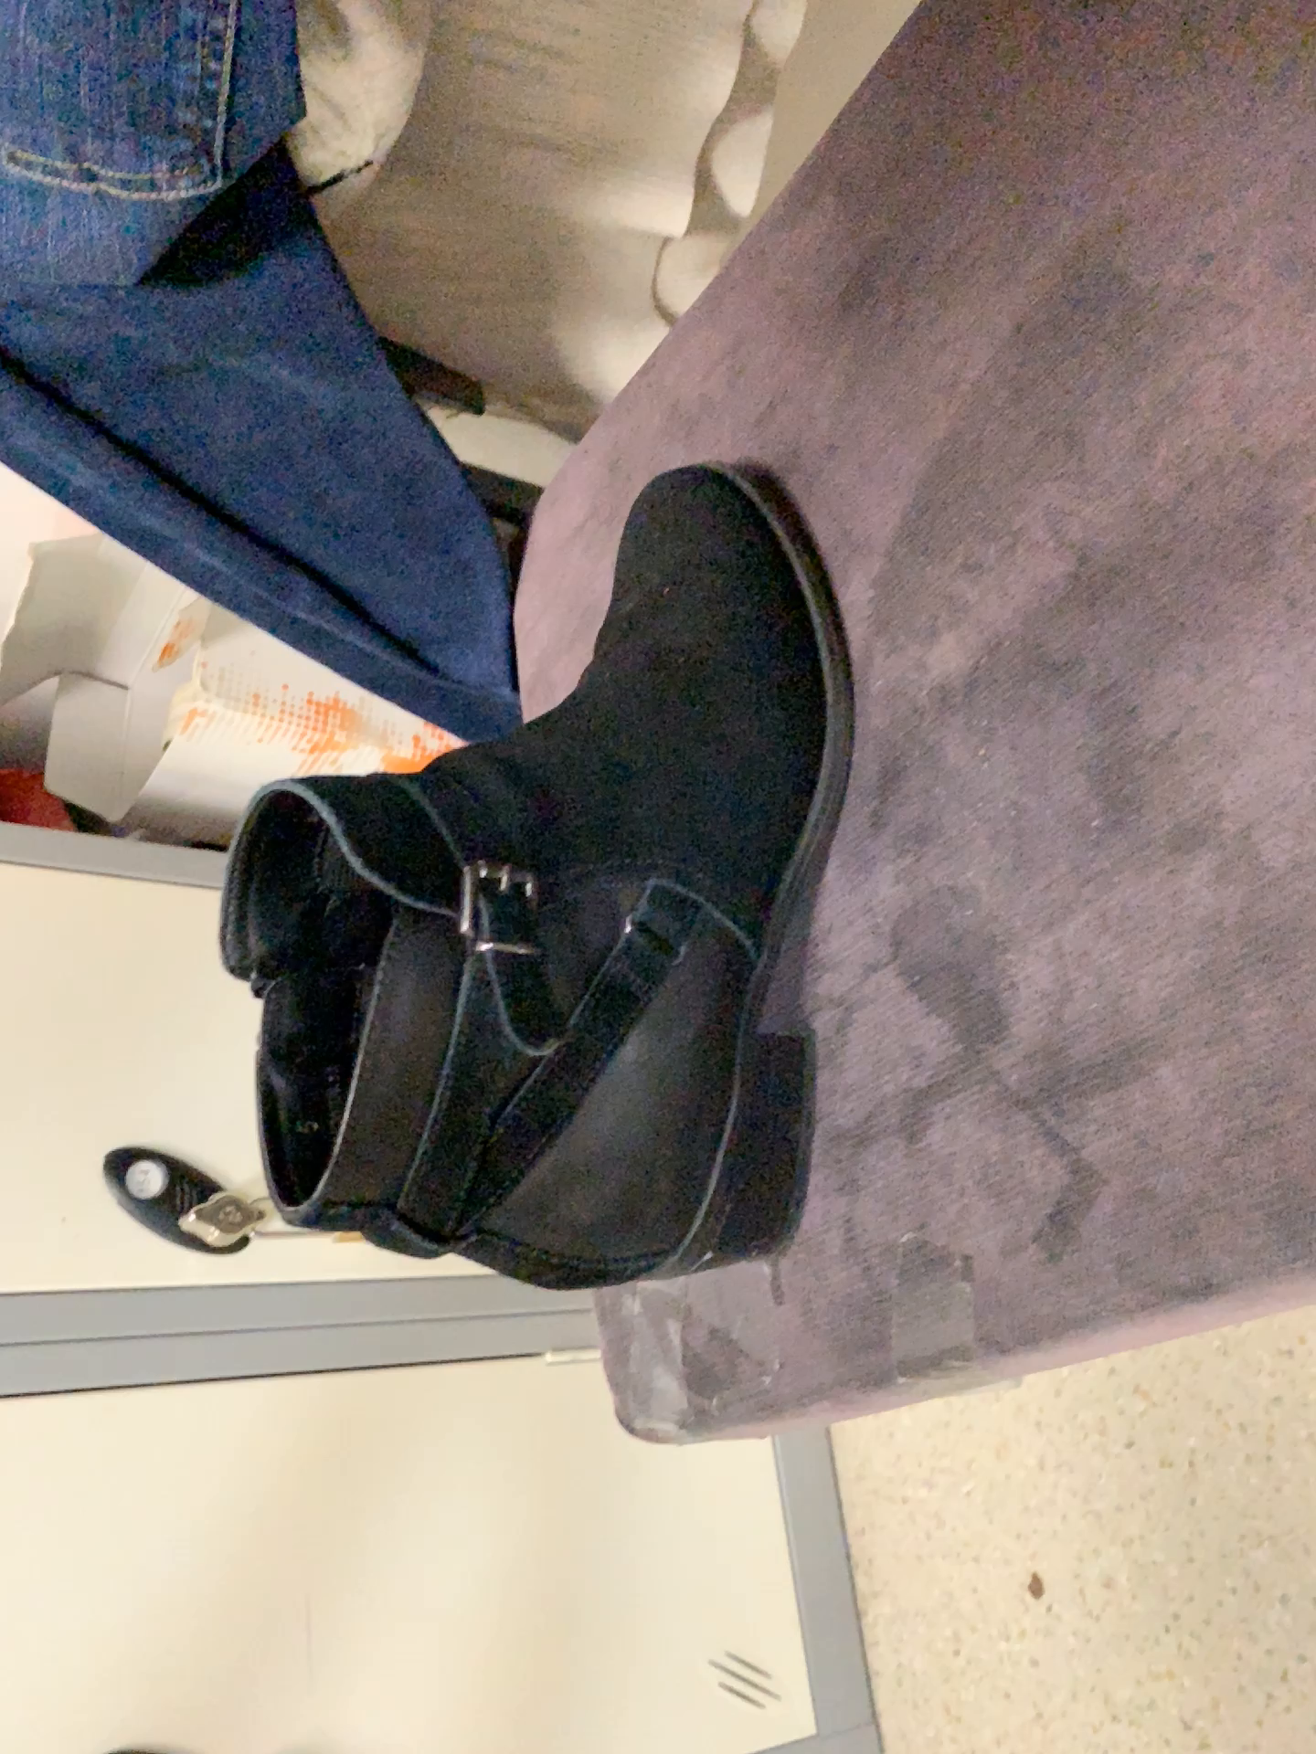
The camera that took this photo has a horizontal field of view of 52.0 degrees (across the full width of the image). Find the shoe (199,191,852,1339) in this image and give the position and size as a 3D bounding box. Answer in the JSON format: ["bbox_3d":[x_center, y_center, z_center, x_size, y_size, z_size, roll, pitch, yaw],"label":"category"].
[{"bbox_3d":[-0.033,-0.020,0.380,0.106,0.135,0.265,-15,70,54],"label":"shoe"}]
